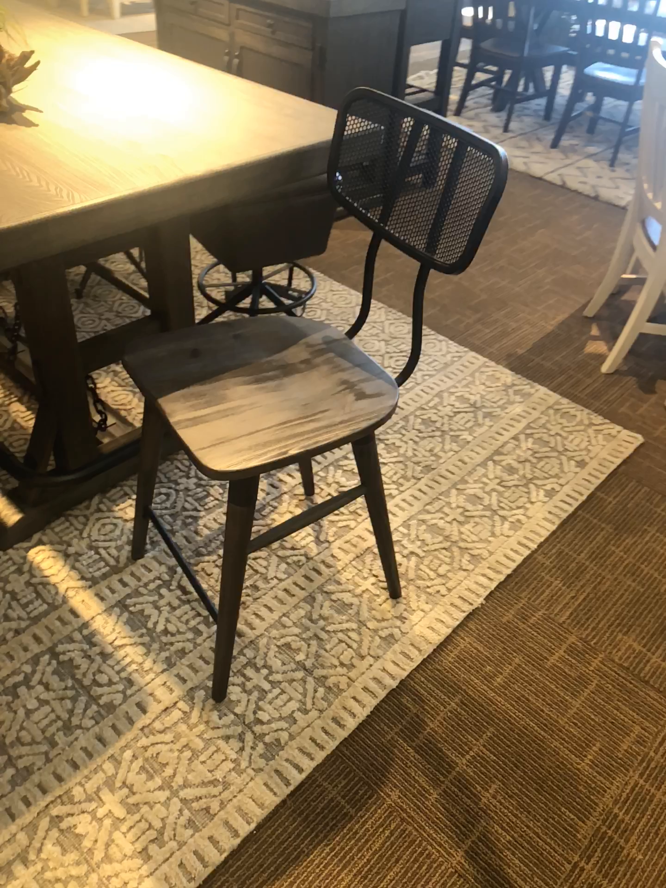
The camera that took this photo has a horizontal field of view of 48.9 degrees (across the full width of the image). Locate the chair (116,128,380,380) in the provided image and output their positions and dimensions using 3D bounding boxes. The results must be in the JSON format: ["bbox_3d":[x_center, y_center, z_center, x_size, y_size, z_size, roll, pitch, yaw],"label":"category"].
[{"bbox_3d":[-0.278,-0.640,2.353,0.521,0.488,0.636,-25,48,-31],"label":"chair"}]

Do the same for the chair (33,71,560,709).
[{"bbox_3d":[-0.088,-0.103,1.381,0.605,0.947,0.508,-21,45,-28],"label":"chair"}]

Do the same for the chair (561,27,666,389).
[{"bbox_3d":[1.093,-0.707,2.229,0.489,0.866,0.557,6,39,2],"label":"chair"}]
